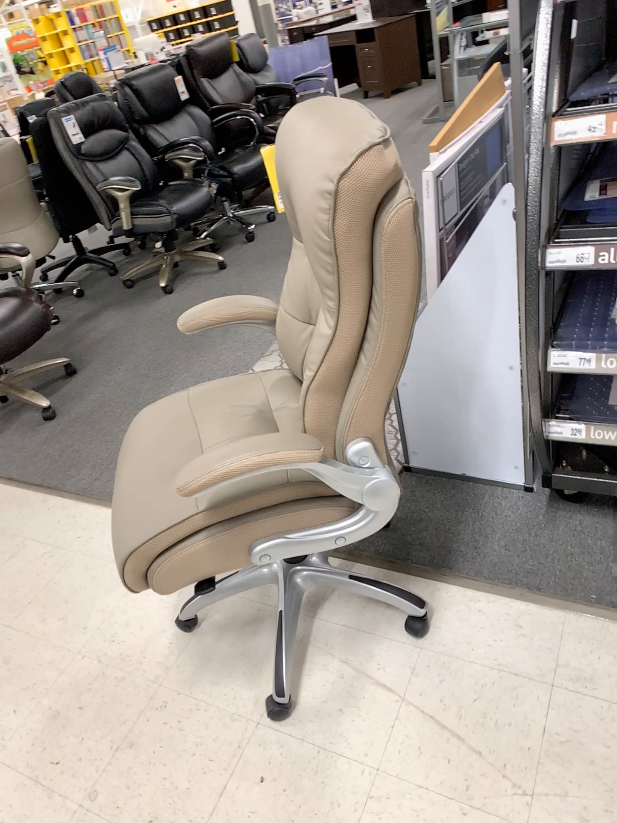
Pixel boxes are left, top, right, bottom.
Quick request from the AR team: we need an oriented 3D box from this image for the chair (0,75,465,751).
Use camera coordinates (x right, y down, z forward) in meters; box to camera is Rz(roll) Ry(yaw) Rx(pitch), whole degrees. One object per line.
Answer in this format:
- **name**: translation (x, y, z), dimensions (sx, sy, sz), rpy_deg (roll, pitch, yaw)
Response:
- **chair**: translation (-0.180, 0.007, 1.387), dimensions (0.720, 1.144, 0.714), rpy_deg (-16, 33, -1)
